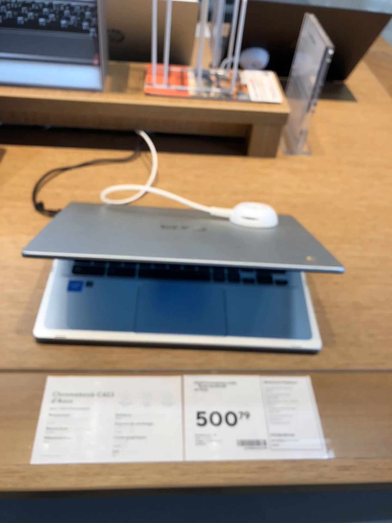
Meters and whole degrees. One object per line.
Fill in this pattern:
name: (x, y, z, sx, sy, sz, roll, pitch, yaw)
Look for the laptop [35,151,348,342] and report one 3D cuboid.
laptop: (-0.003, -0.023, 0.524, 0.304, 0.080, 0.206, 4, 48, -6)
